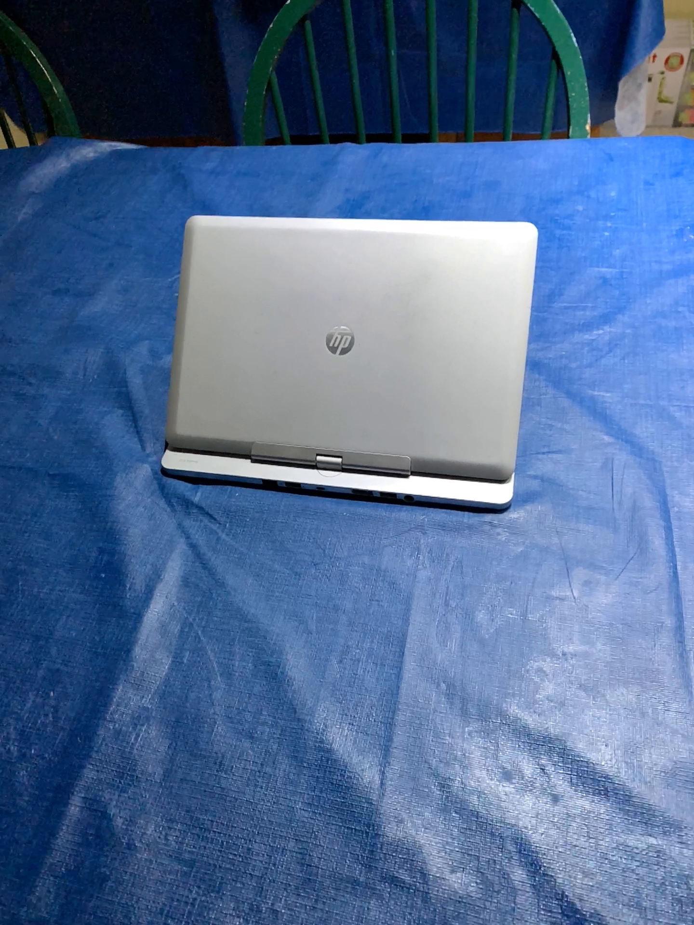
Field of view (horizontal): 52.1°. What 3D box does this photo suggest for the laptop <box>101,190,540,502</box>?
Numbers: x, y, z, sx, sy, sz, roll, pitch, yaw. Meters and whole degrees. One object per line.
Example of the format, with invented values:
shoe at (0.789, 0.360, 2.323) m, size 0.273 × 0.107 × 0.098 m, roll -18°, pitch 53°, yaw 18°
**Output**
laptop at (-0.002, -0.103, 0.566) m, size 0.279 × 0.122 × 0.209 m, roll 6°, pitch 52°, yaw 13°
